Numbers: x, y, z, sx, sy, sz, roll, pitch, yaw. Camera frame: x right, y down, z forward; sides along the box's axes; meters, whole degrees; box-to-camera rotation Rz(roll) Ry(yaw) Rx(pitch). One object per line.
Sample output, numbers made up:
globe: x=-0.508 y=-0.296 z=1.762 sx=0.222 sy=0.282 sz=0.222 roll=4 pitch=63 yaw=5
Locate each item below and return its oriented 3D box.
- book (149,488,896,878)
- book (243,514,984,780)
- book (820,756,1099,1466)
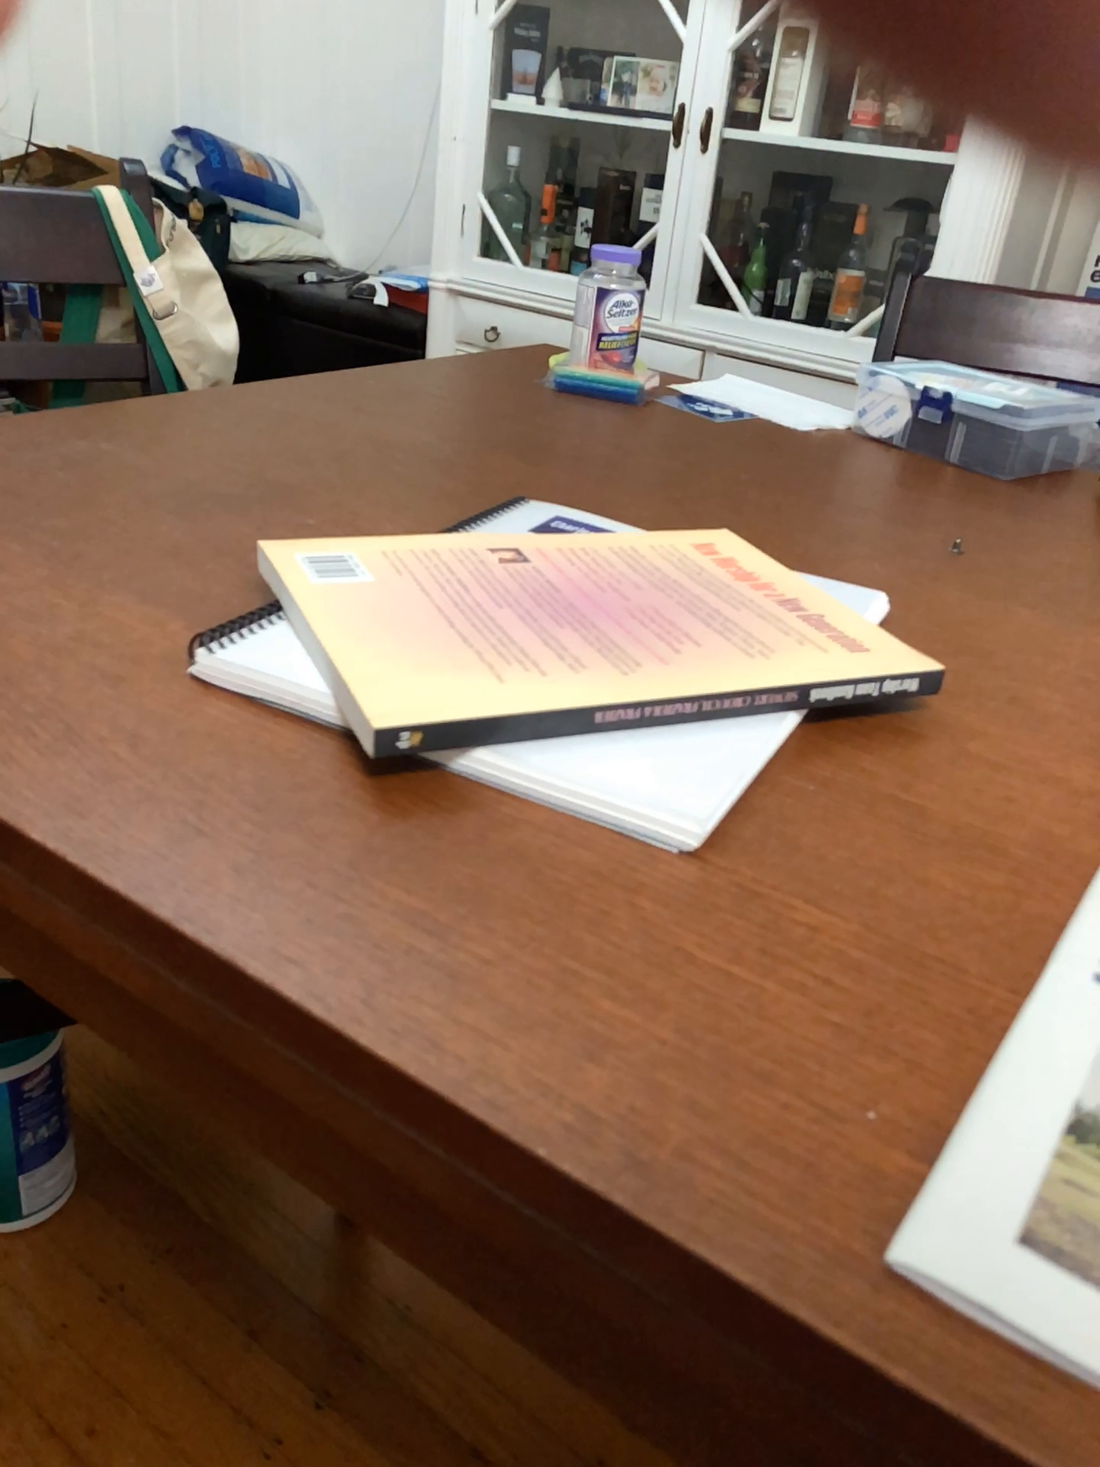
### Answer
book: x=0.011 y=-0.048 z=0.548 sx=0.230 sy=0.020 sz=0.292 roll=18 pitch=29 yaw=21
book: x=0.019 y=-0.051 z=0.517 sx=0.260 sy=0.020 sz=0.191 roll=-7 pitch=30 yaw=-24
book: x=0.216 y=0.091 z=0.307 sx=0.200 sy=0.010 sz=0.271 roll=22 pitch=31 yaw=28
